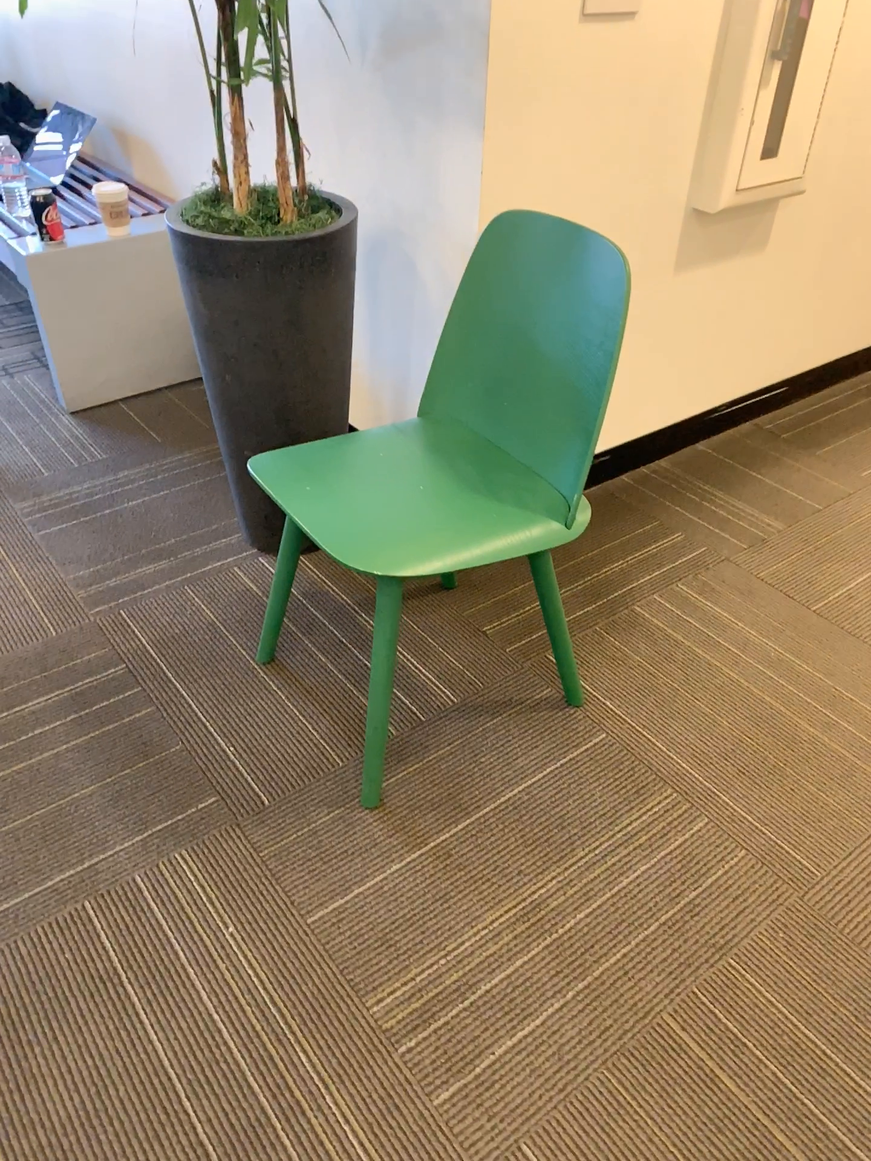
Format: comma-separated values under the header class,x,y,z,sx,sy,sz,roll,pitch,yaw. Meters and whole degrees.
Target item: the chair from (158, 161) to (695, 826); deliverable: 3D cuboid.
class,x,y,z,sx,sy,sz,roll,pitch,yaw
chair,-0.036,-0.153,1.388,0.501,0.785,0.503,-22,43,-29
